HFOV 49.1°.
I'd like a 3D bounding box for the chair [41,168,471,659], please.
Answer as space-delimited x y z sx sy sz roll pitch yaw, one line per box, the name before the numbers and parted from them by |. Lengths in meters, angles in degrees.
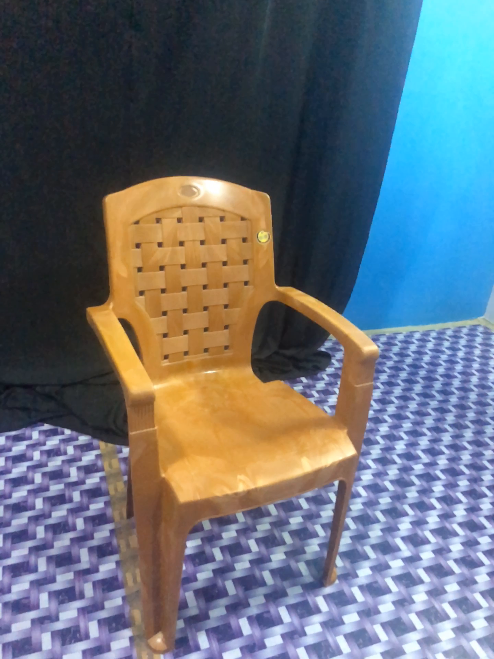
chair | -0.077 0.118 1.205 0.602 0.786 0.662 -6 29 -25
